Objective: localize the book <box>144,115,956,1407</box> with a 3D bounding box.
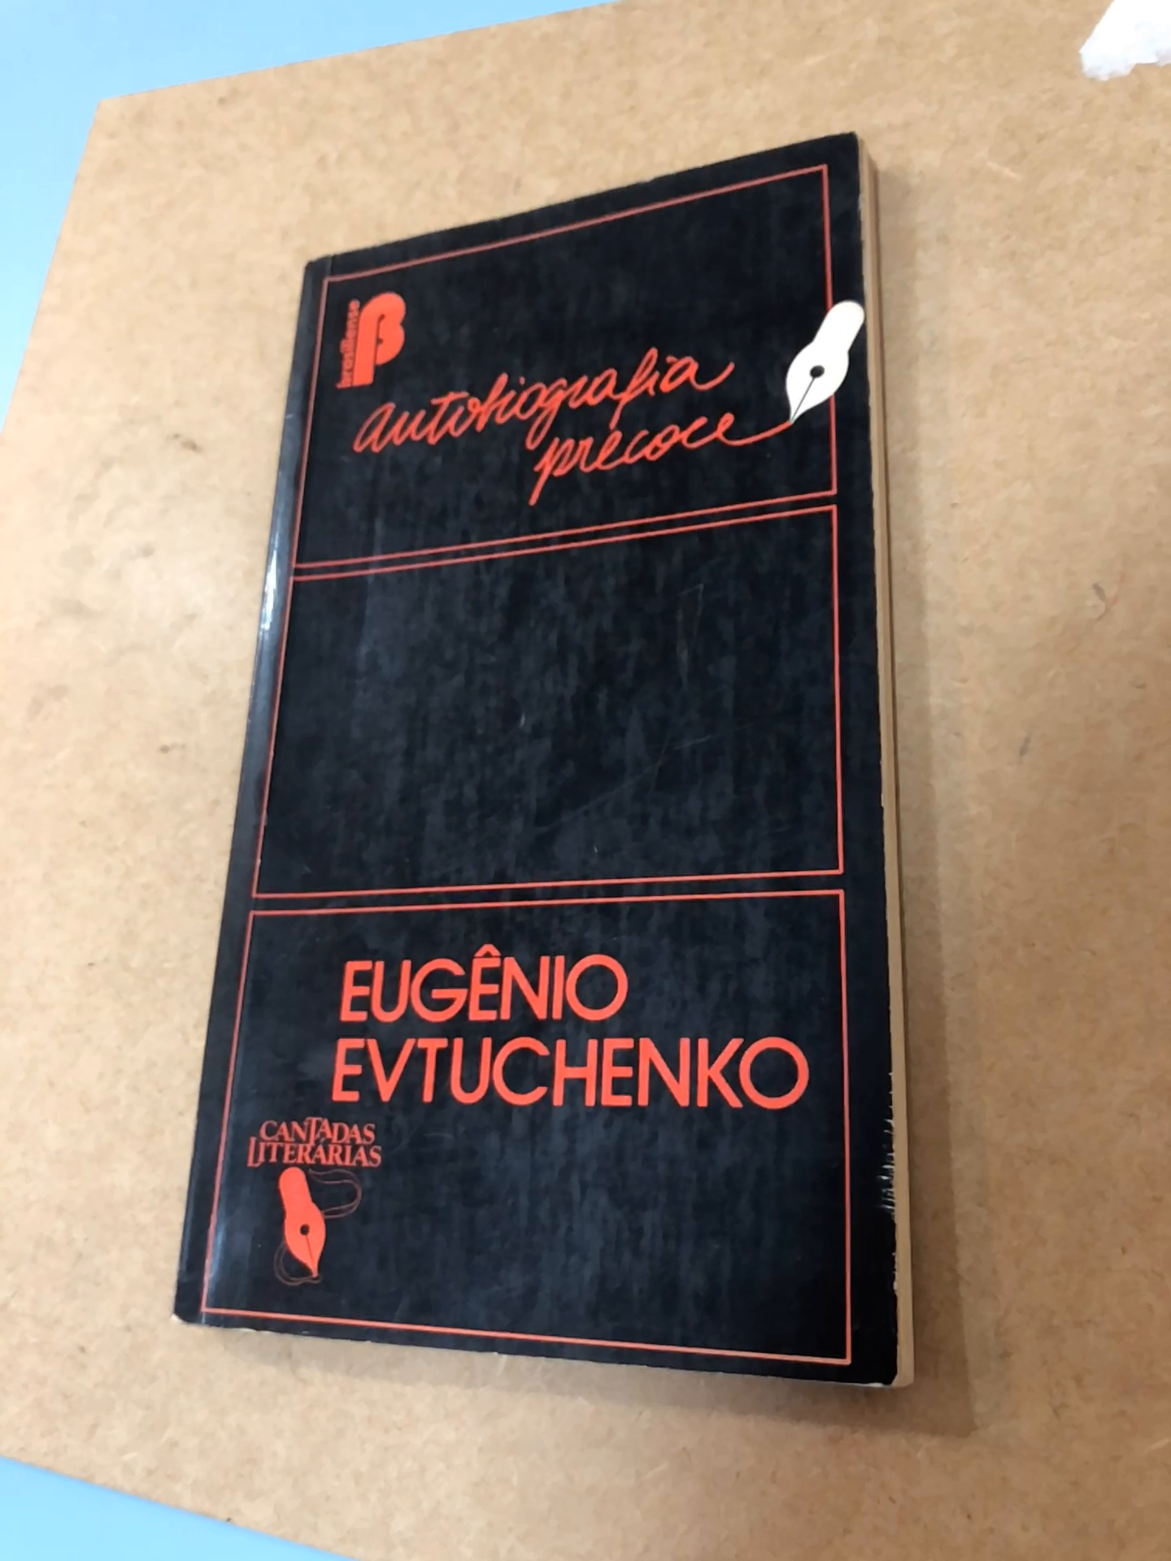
[{"bbox_3d":[-0.005,-0.011,0.209,0.114,0.016,0.190,-4,70,21],"label":"book"}]
